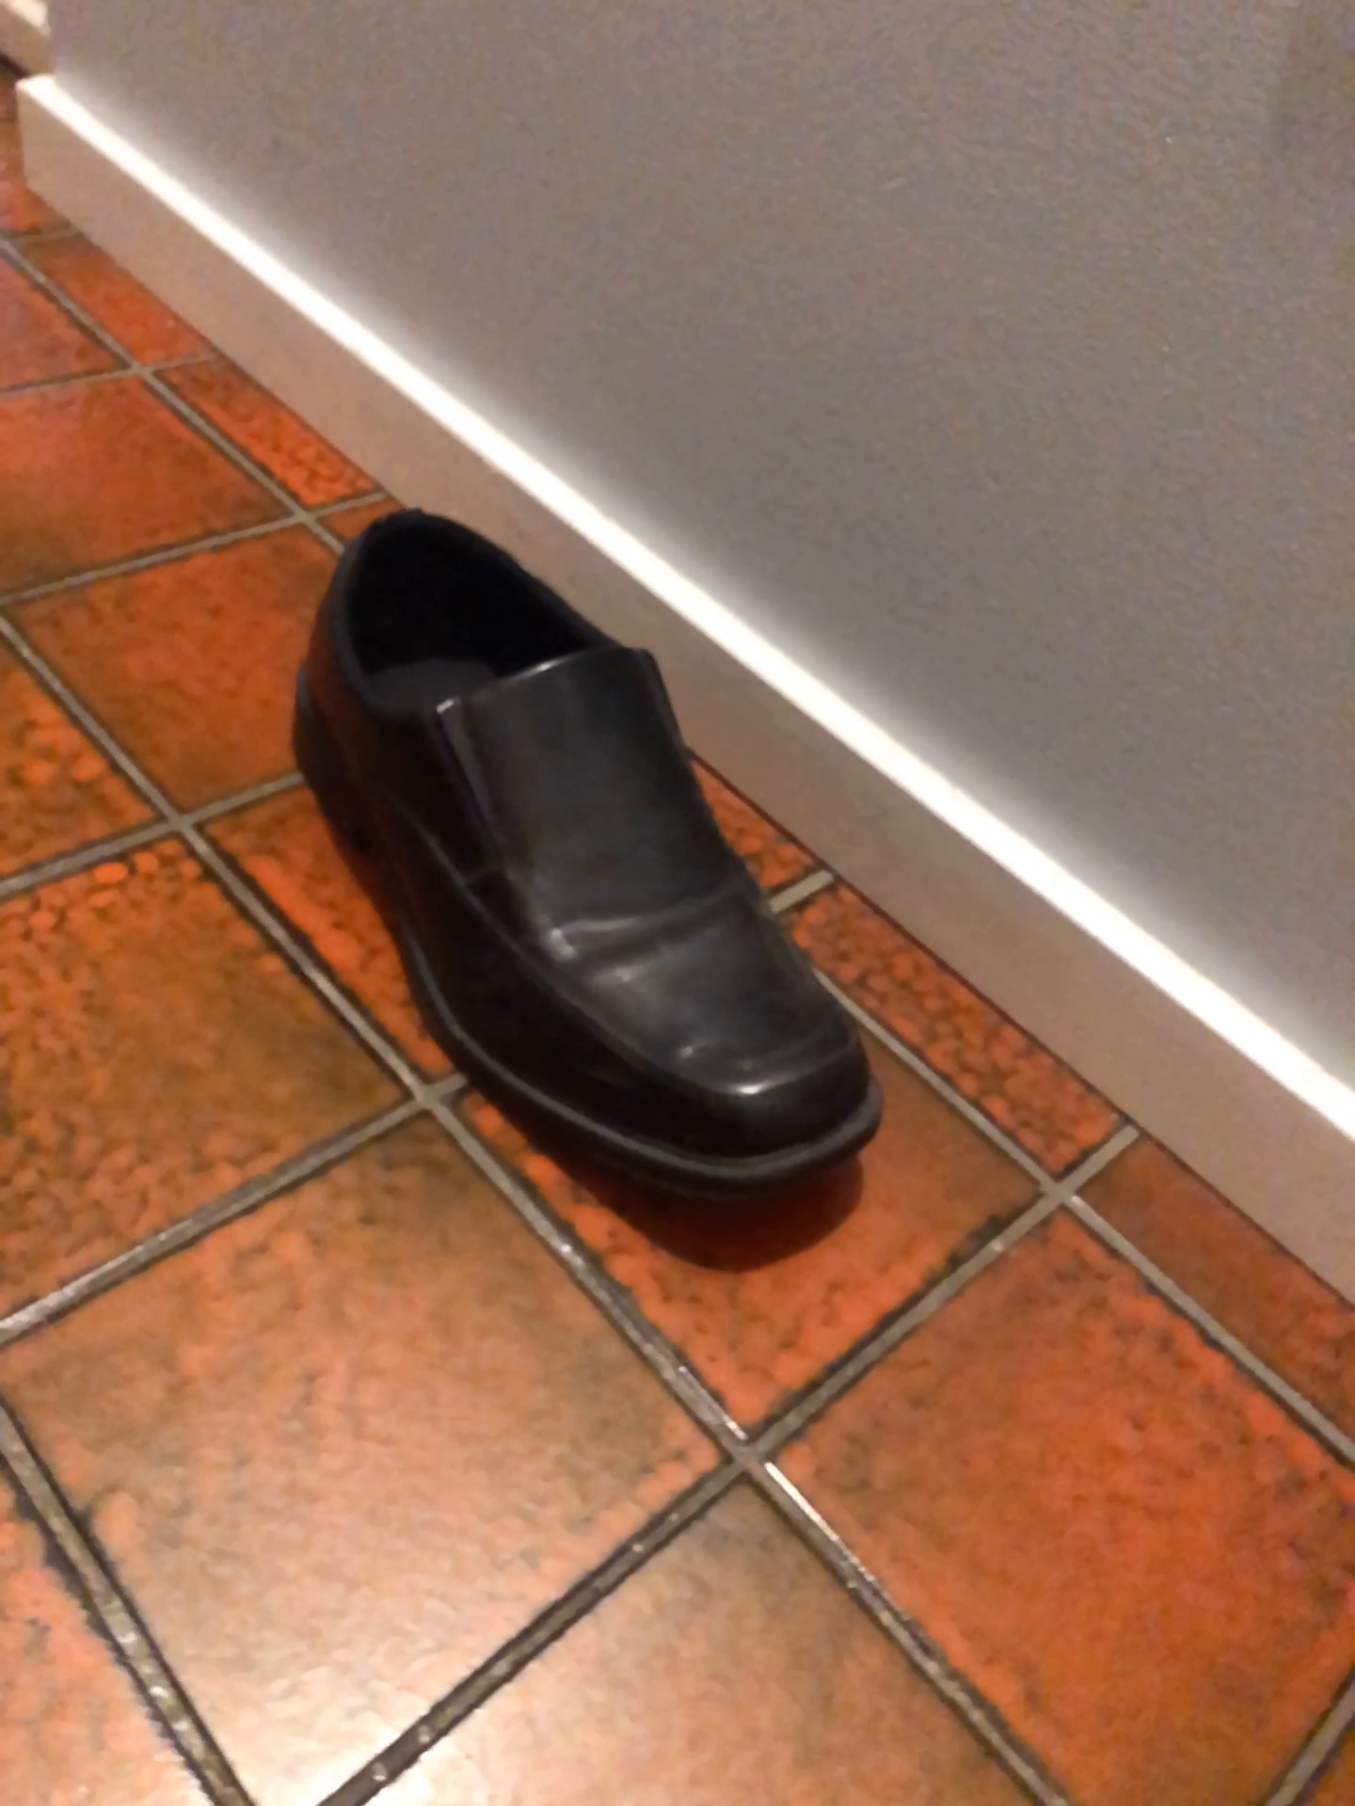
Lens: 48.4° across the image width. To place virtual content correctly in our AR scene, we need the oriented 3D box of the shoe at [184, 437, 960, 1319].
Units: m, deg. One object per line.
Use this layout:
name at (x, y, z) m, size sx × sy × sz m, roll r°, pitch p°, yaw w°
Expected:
shoe at (-0.056, -0.030, 0.513) m, size 0.120 × 0.100 × 0.301 m, roll -17°, pitch 52°, yaw -28°
